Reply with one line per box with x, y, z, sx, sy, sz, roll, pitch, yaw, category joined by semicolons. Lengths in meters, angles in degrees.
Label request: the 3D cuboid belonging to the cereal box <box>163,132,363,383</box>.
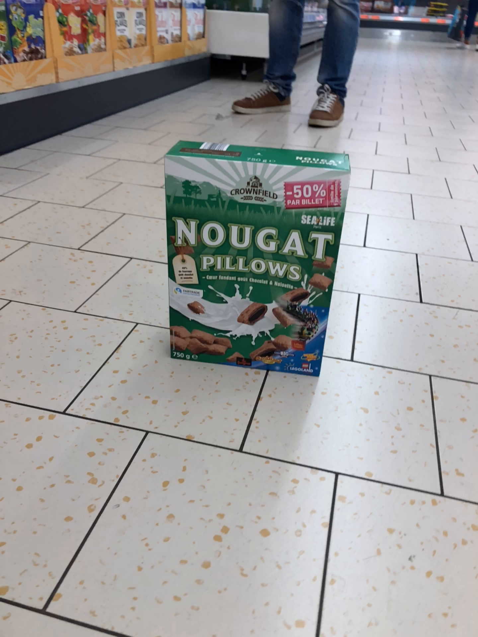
0.021;-0.066;0.619;0.200;0.268;0.070;6;30;5;cereal box
